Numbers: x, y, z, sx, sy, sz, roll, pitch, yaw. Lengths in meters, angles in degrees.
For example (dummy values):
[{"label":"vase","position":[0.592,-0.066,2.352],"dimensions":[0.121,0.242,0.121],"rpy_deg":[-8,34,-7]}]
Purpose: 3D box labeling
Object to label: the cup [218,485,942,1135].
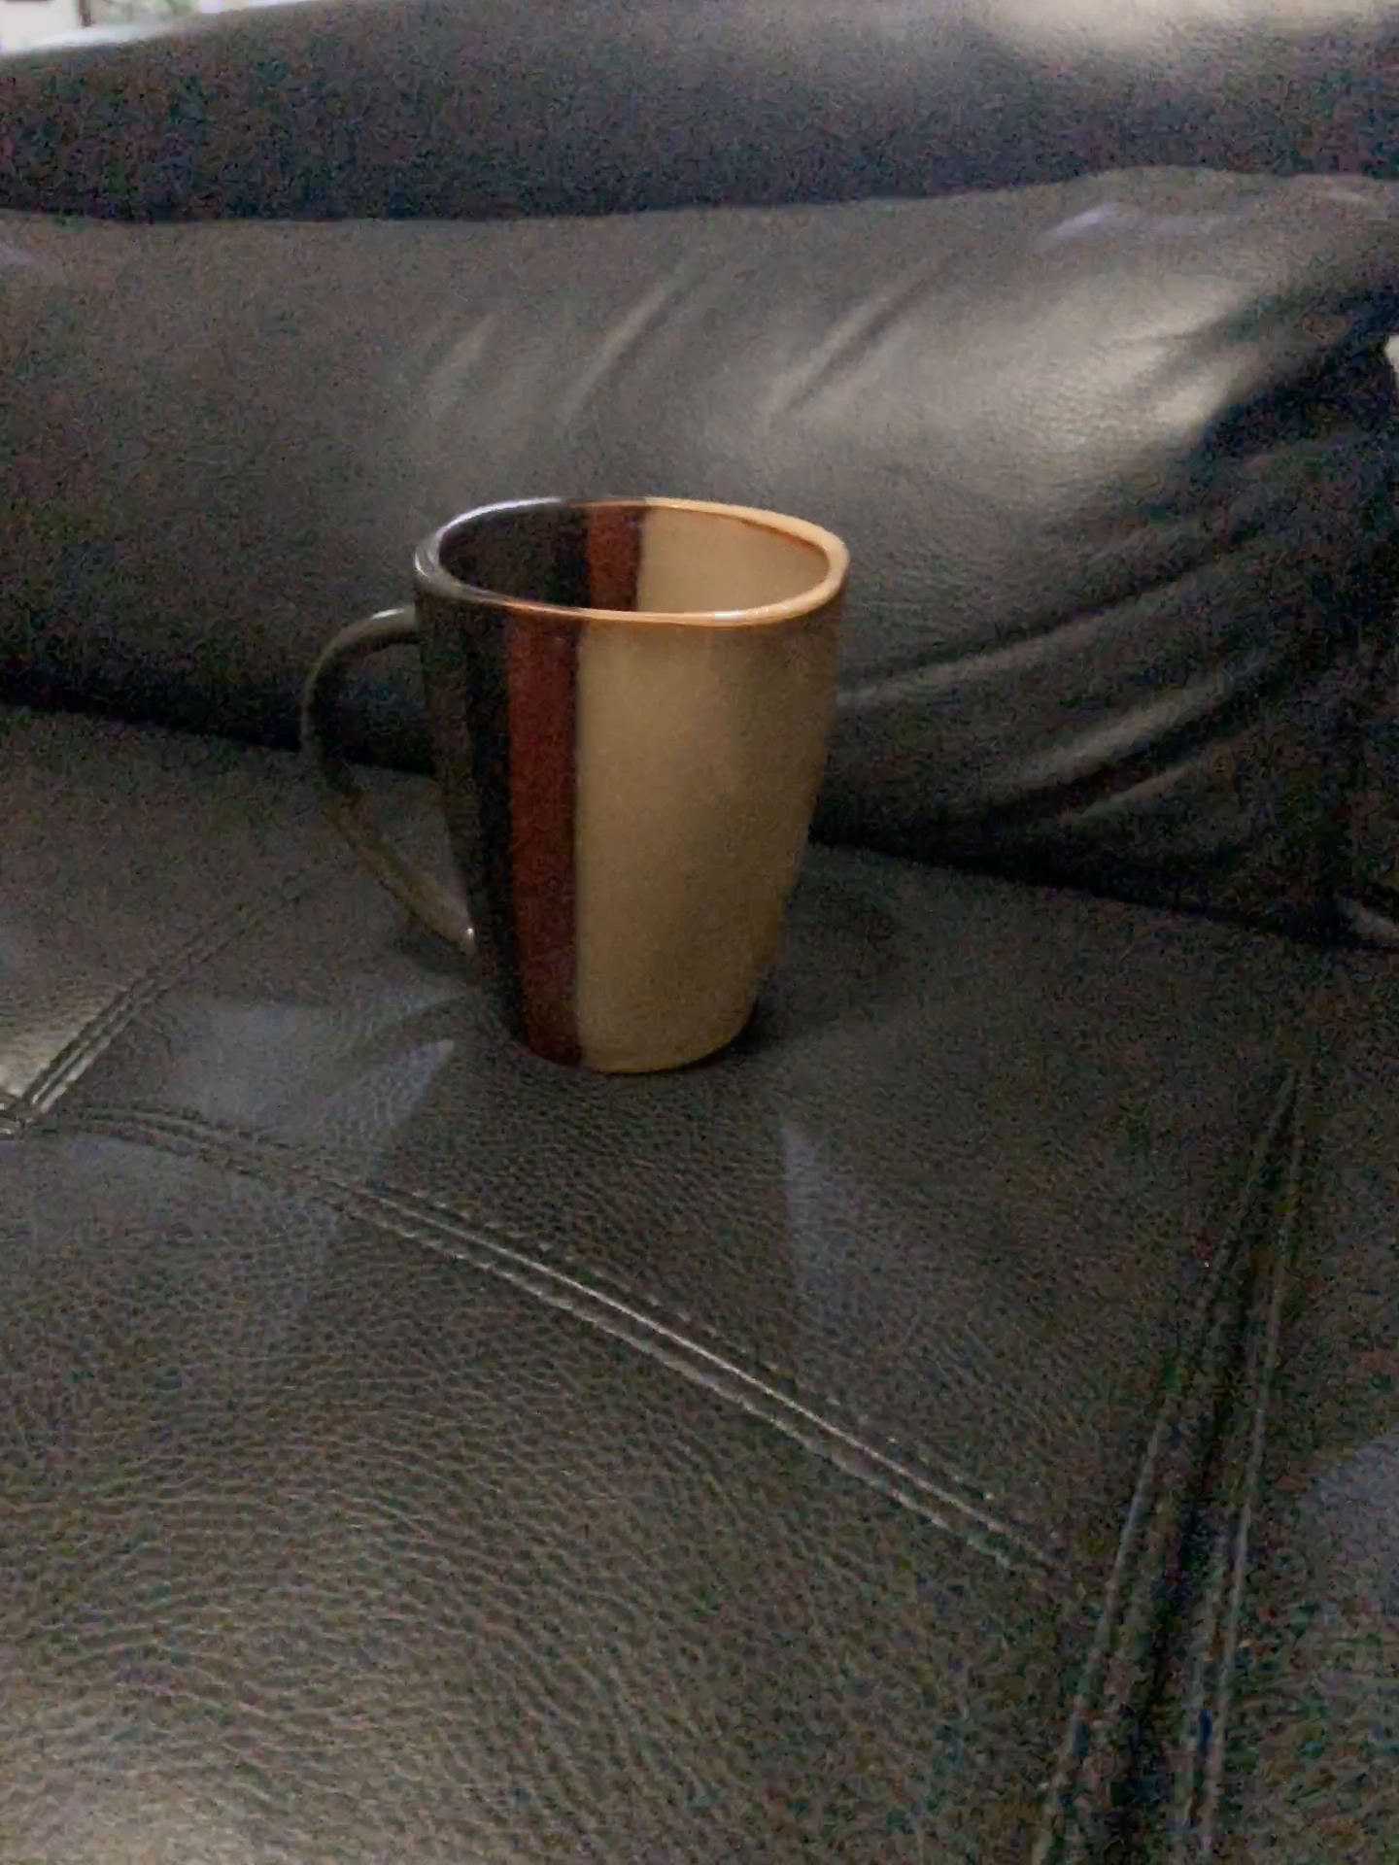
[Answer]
[{"label":"cup","position":[-0.020,-0.036,0.350],"dimensions":[0.137,0.109,0.098],"rpy_deg":[7,31,11]}]
